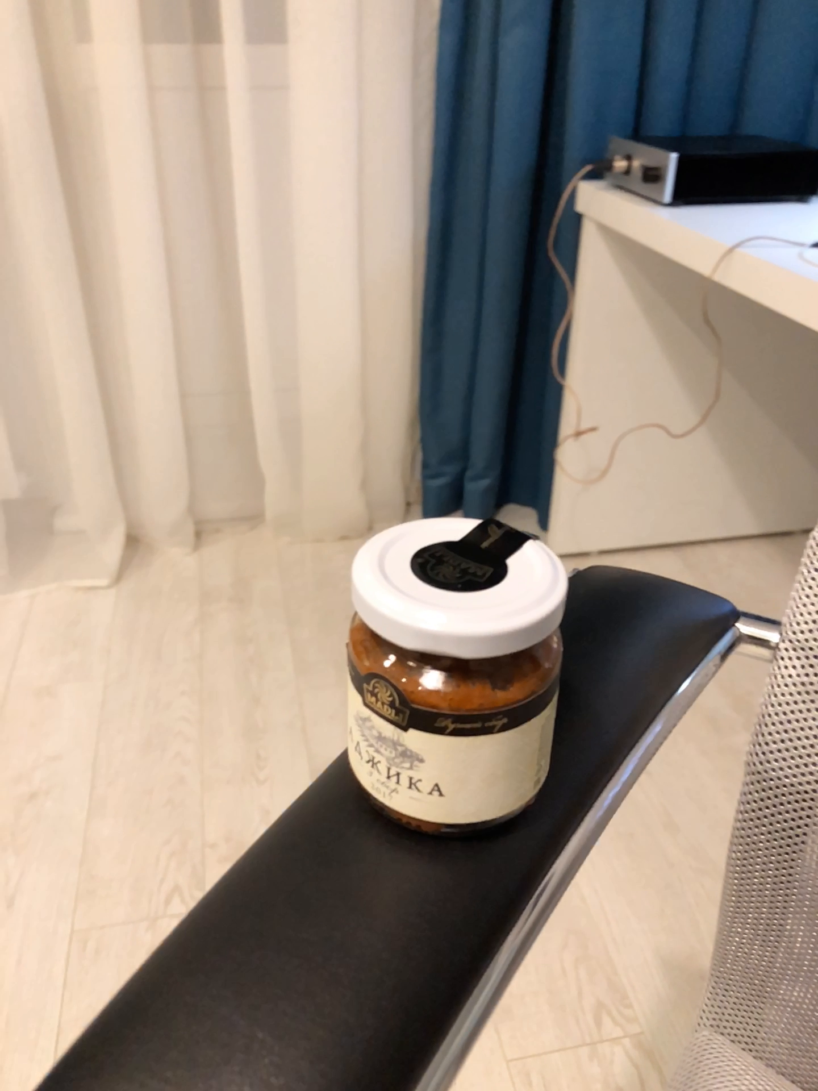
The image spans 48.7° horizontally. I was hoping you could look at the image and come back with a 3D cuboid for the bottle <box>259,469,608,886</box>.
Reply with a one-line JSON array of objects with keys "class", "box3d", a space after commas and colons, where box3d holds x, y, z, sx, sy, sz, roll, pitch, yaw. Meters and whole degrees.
[{"class": "bottle", "box3d": [0.006, 0.030, 0.236, 0.060, 0.070, 0.060, 26, 38, 38]}]
